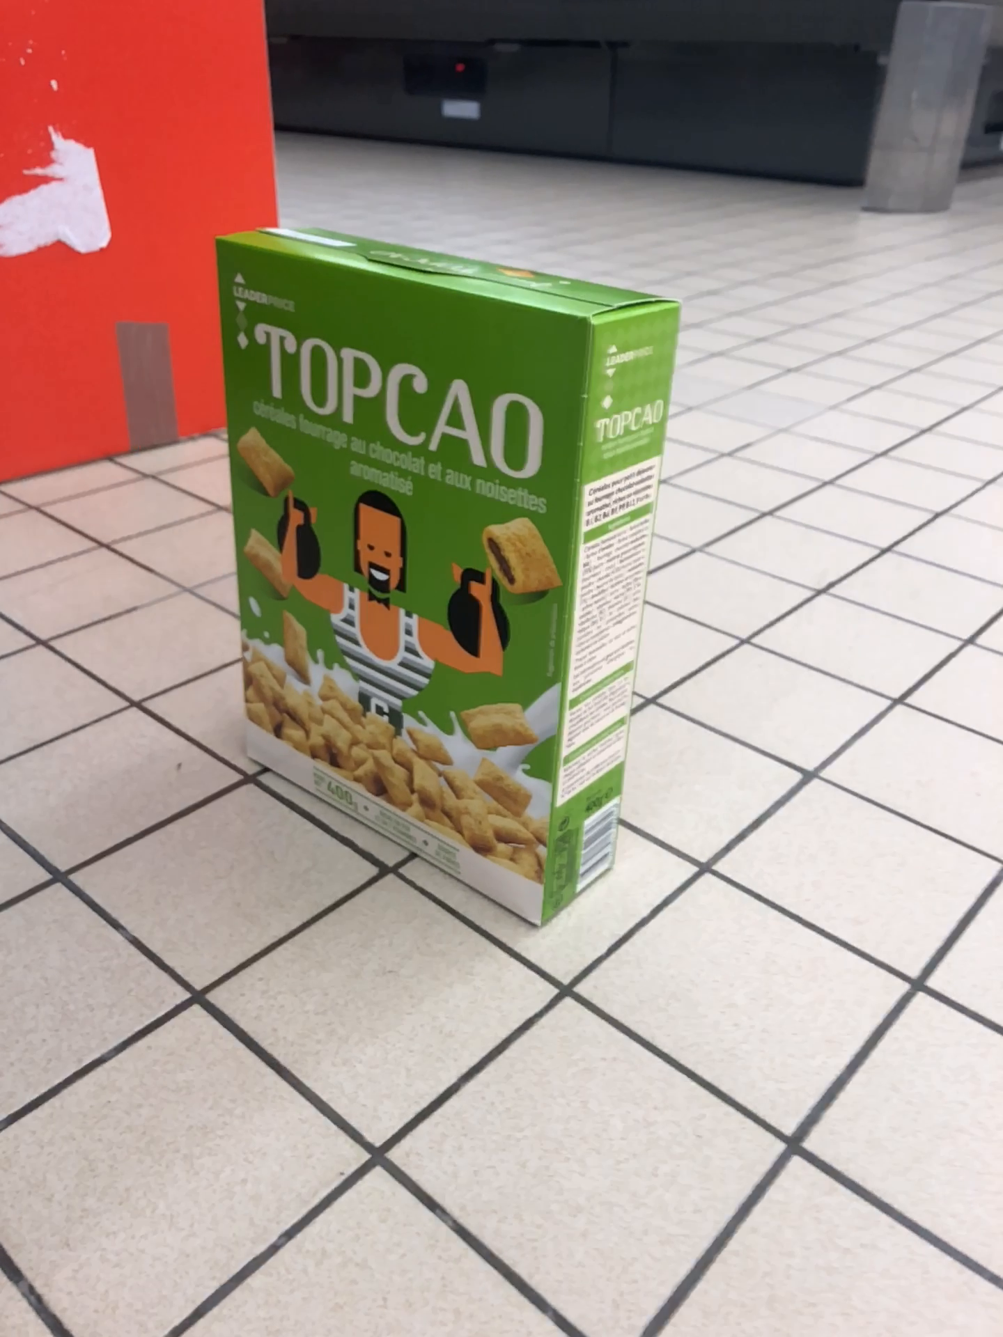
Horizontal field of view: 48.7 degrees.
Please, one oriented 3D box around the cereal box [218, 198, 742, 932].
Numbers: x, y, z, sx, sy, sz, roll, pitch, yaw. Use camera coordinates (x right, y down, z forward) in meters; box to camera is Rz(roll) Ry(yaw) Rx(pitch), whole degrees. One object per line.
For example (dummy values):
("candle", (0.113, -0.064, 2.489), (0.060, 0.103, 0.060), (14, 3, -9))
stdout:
("cereal box", (-0.025, -0.048, 0.463), (0.200, 0.249, 0.060), (25, 34, 32))
